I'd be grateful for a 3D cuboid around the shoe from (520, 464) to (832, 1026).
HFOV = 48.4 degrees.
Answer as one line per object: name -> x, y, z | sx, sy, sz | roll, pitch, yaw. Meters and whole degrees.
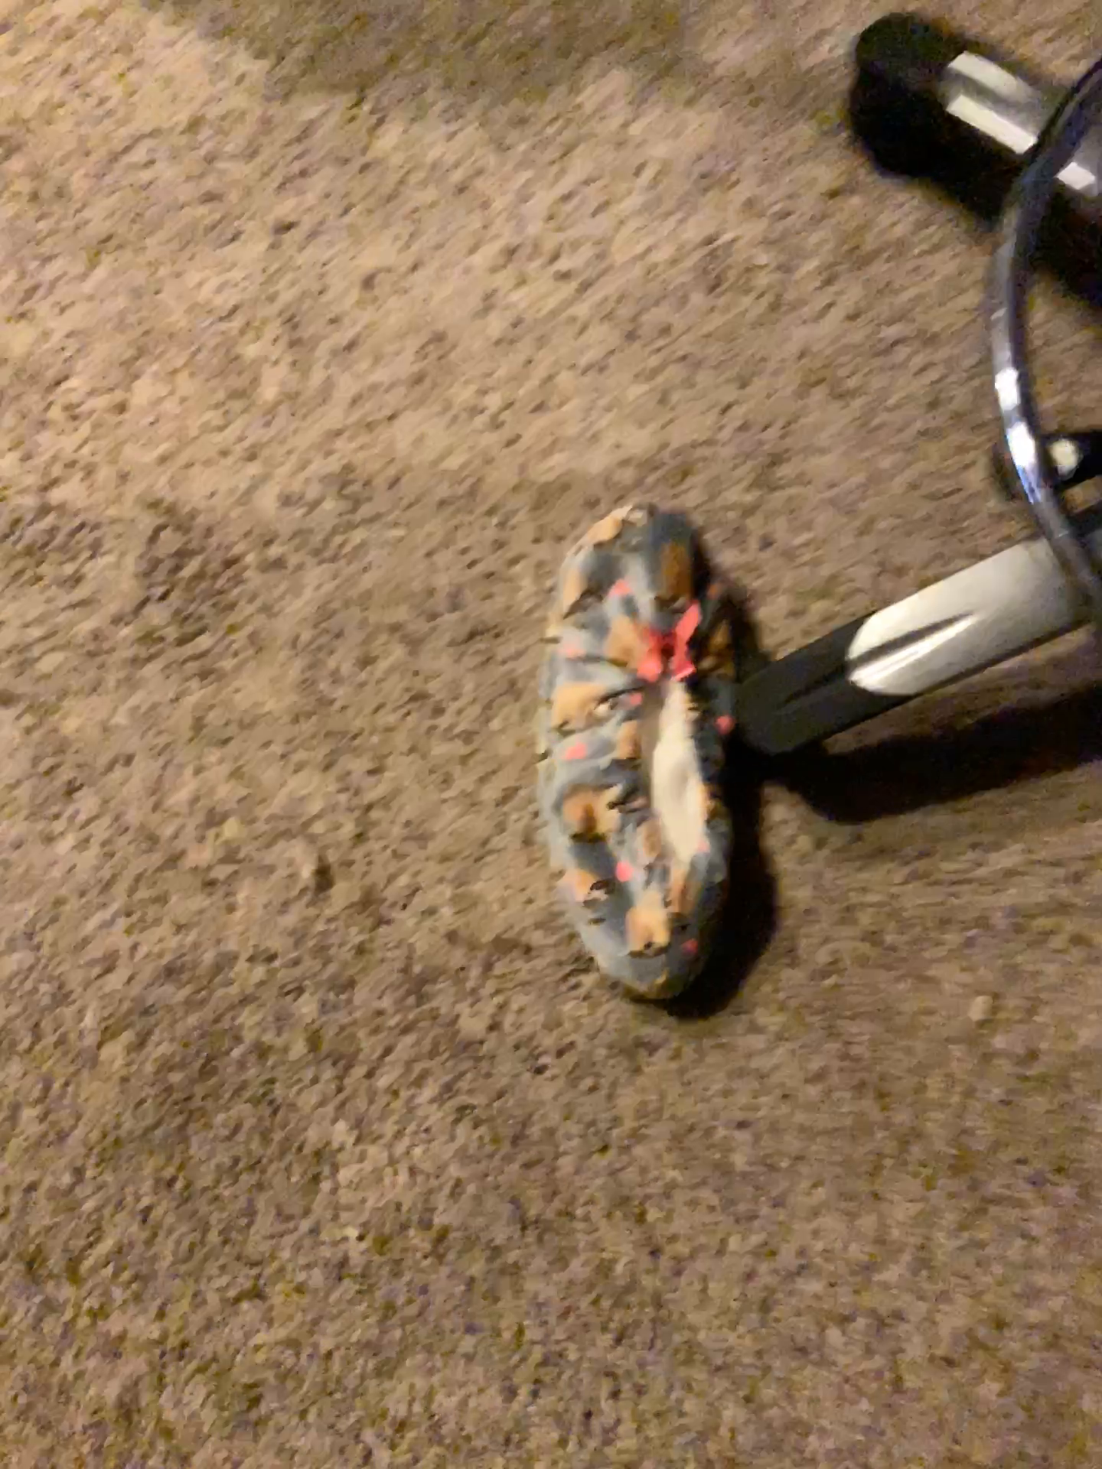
shoe -> 0.054, 0.005, 0.605 | 0.120, 0.070, 0.260 | -4, 76, -2
